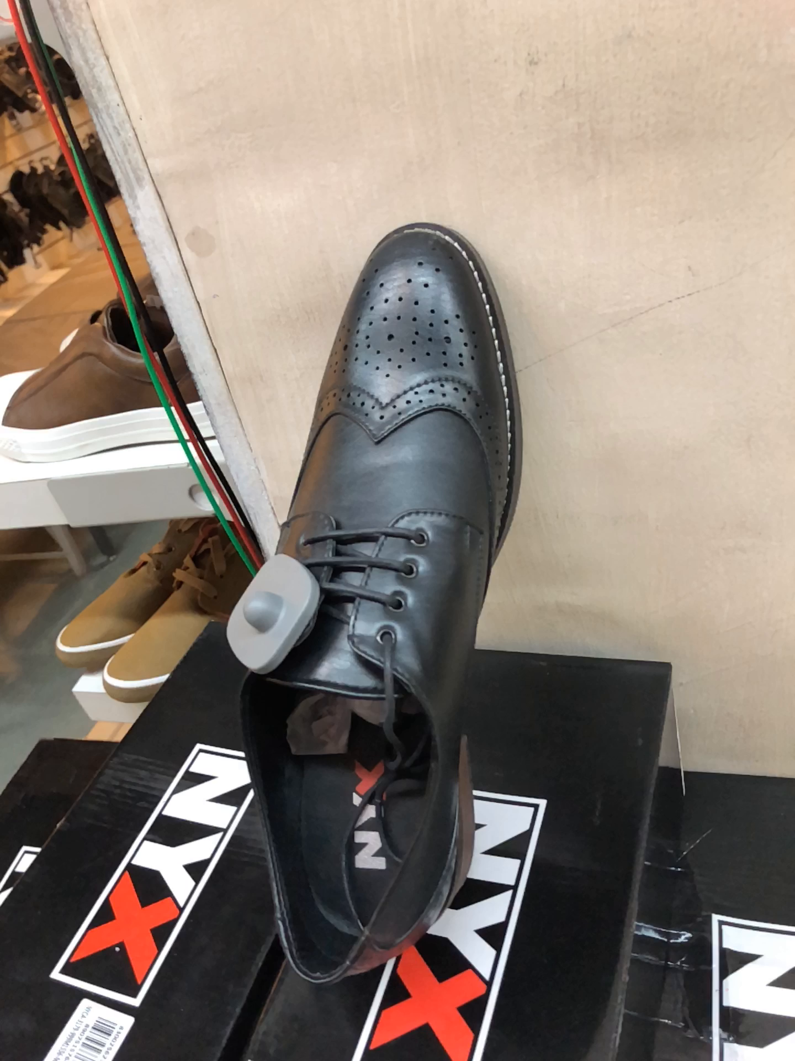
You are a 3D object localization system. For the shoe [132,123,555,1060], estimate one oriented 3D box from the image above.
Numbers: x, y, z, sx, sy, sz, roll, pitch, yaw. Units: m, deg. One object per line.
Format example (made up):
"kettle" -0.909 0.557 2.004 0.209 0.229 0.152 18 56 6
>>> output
"shoe" -0.012 0.015 0.347 0.106 0.297 0.106 3 -4 22
